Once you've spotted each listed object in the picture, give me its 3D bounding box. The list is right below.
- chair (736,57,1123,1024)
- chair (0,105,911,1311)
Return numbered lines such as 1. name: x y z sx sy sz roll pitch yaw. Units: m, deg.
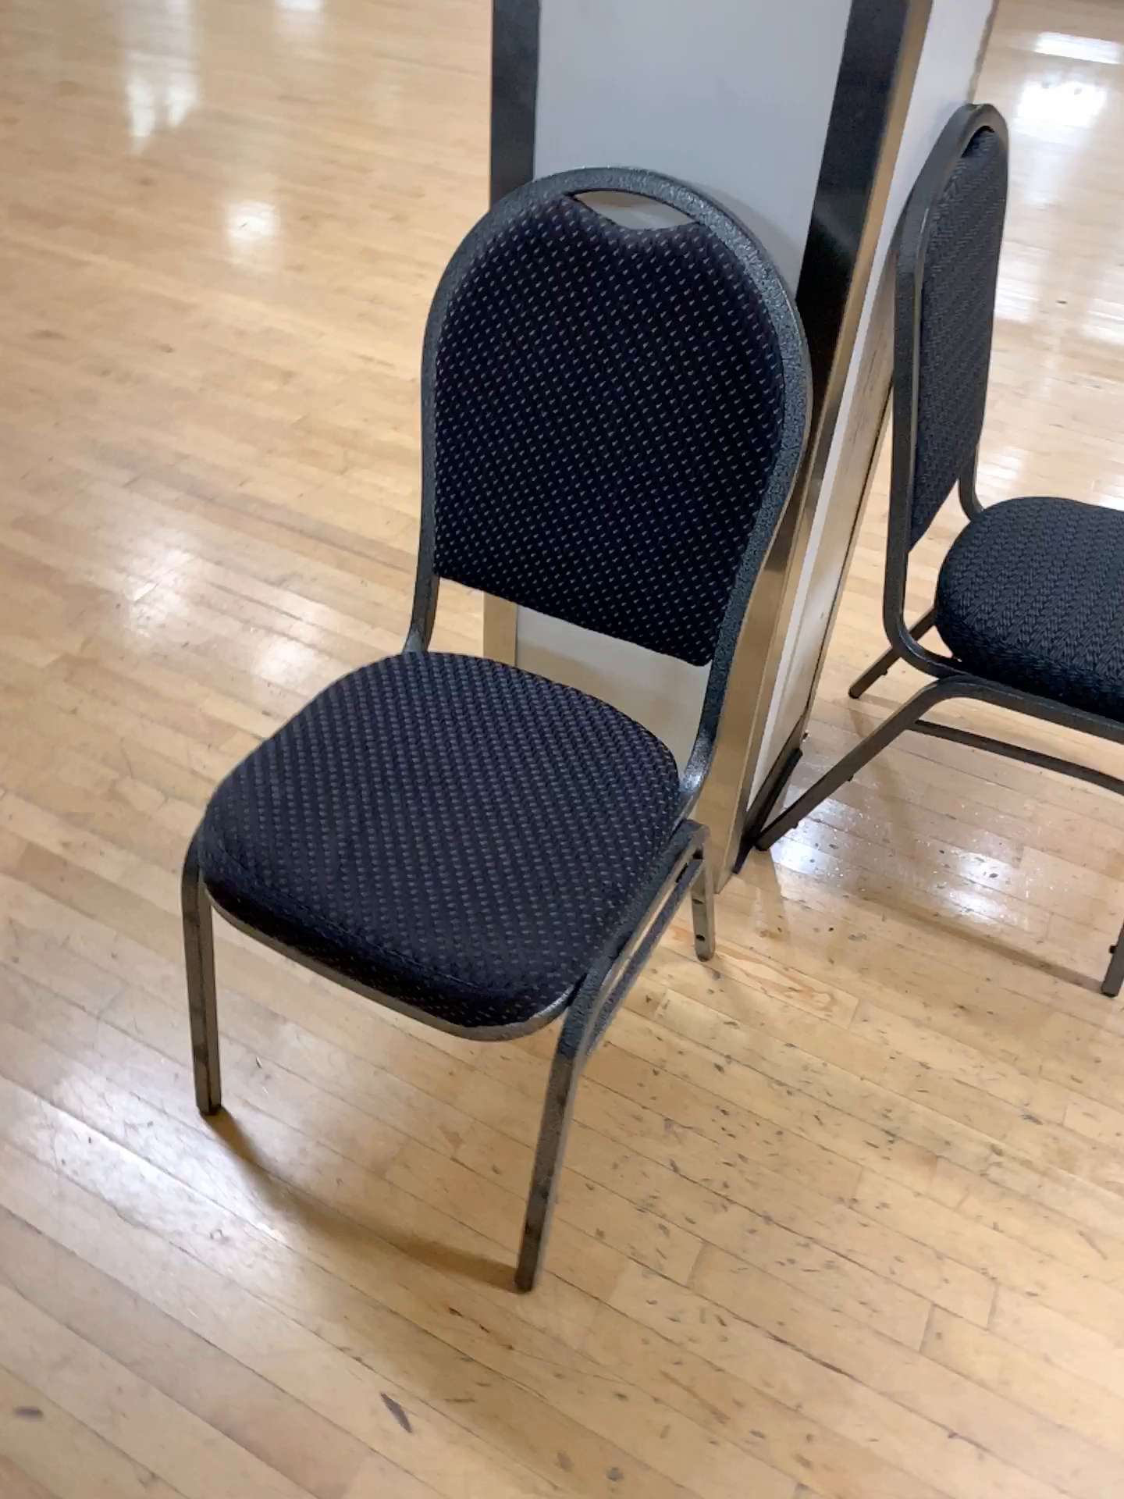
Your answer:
1. chair: 0.630 -0.226 1.378 0.554 0.921 0.463 24 46 20
2. chair: -0.082 -0.013 1.101 0.462 0.921 0.556 22 45 19
